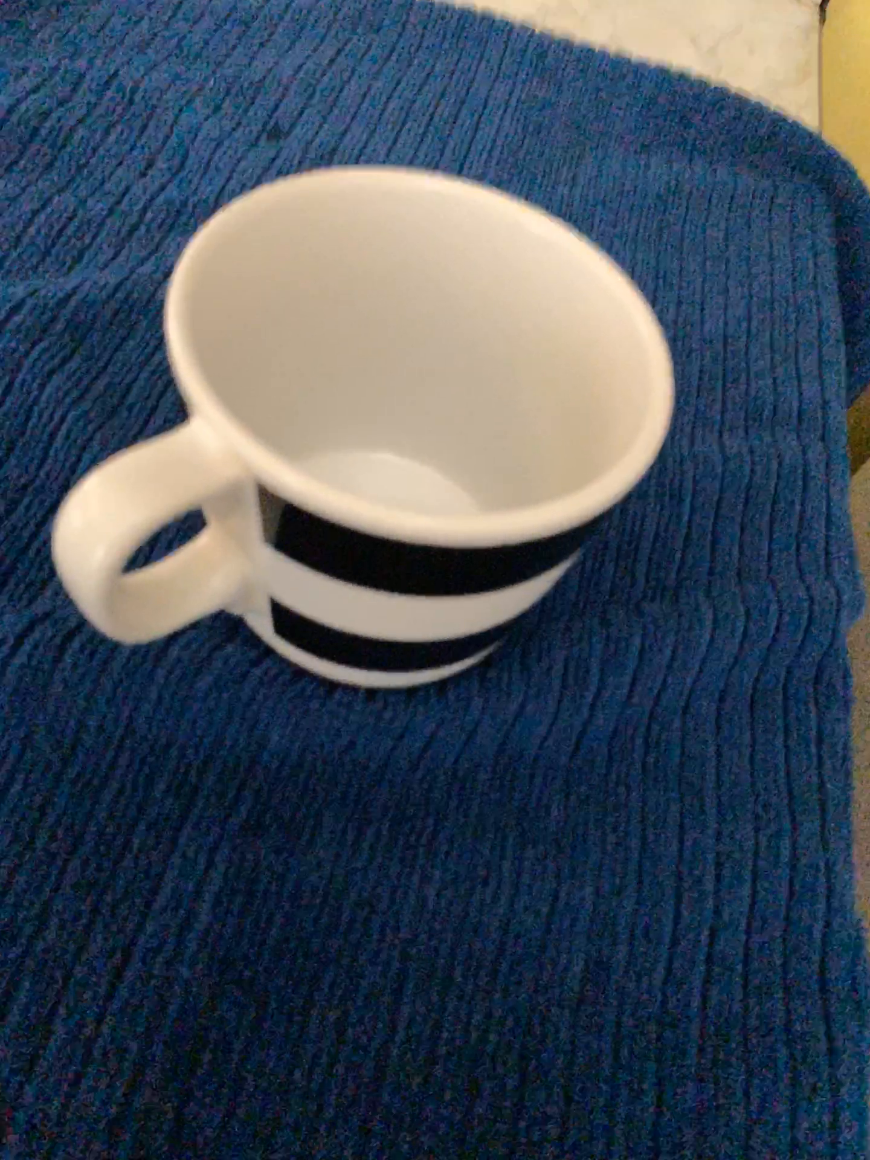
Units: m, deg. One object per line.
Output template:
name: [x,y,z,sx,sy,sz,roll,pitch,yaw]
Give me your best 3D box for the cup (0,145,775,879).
cup: [-0.012,-0.022,0.171,0.113,0.057,0.085,-34,68,-32]
